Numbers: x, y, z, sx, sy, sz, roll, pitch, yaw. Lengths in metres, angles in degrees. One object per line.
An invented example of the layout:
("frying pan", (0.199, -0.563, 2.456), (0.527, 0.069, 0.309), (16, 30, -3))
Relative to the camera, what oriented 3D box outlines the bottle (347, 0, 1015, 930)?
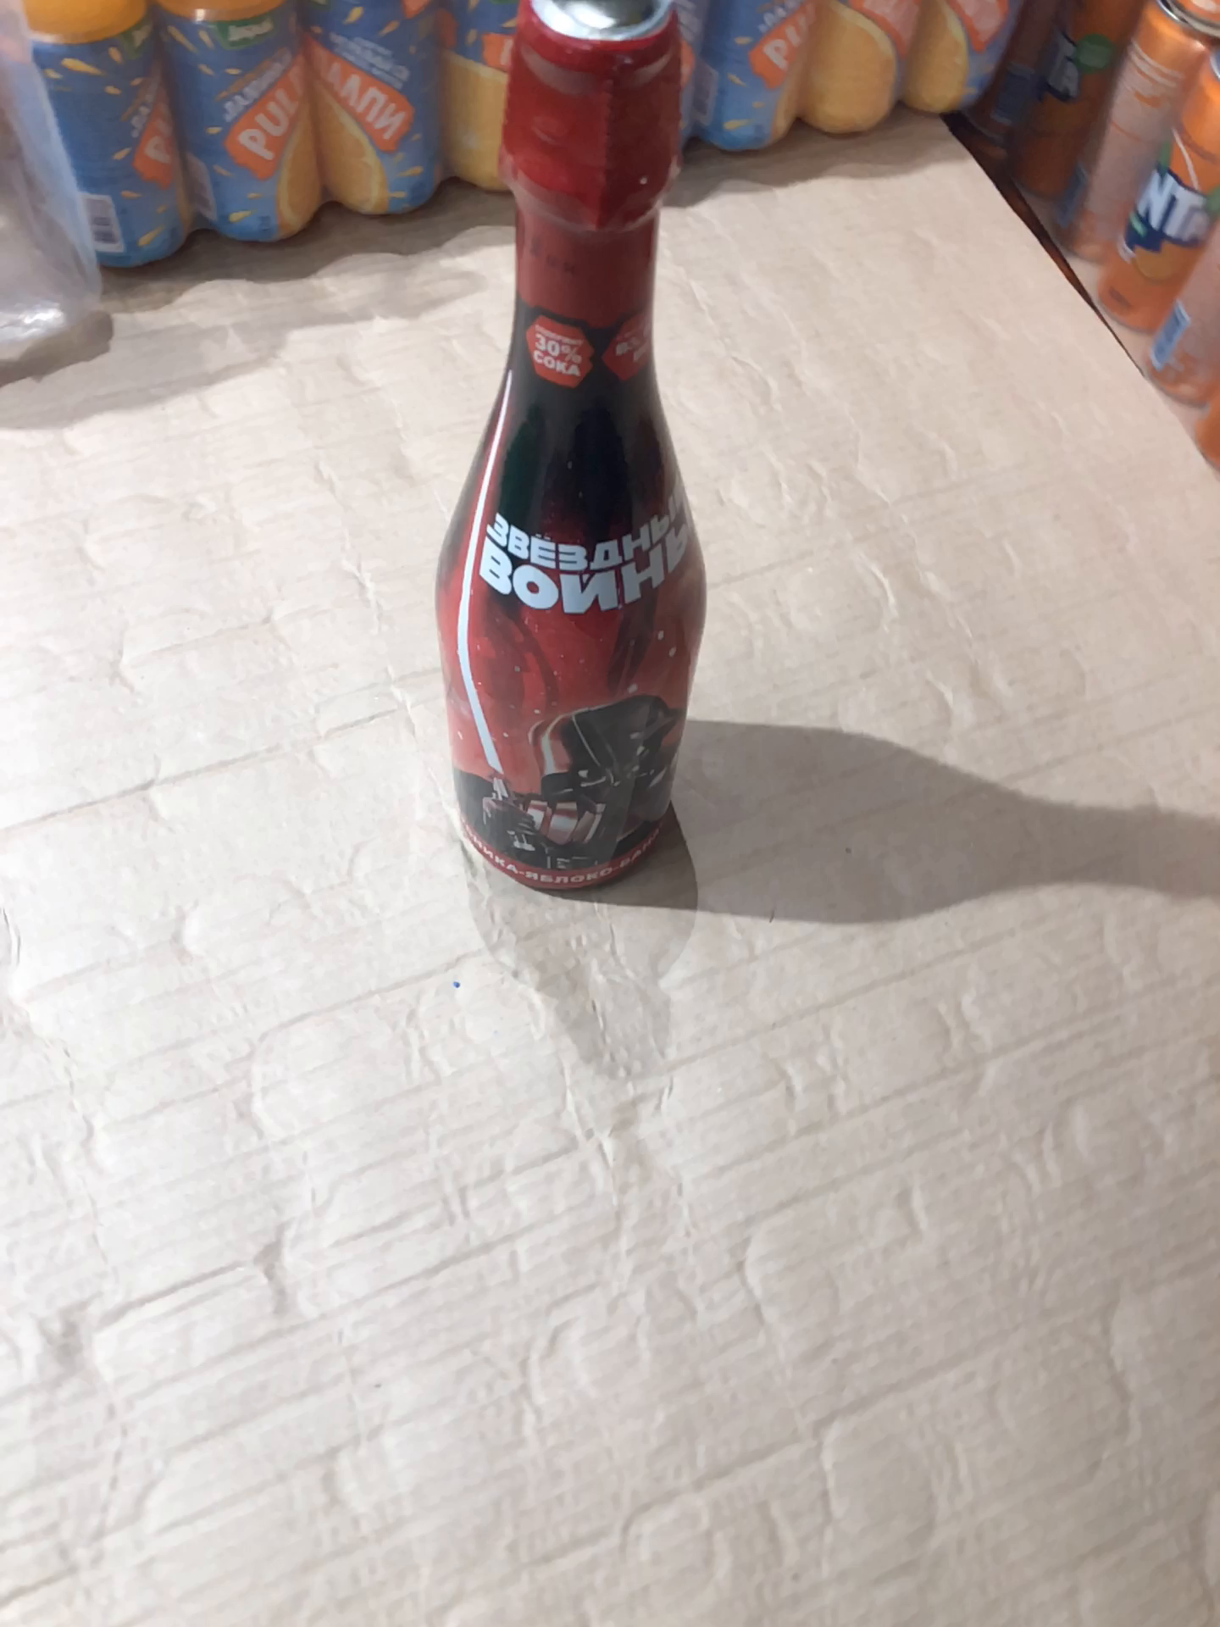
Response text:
("bottle", (-0.001, -0.073, 0.349), (0.086, 0.279, 0.085), (2, 63, -4))
